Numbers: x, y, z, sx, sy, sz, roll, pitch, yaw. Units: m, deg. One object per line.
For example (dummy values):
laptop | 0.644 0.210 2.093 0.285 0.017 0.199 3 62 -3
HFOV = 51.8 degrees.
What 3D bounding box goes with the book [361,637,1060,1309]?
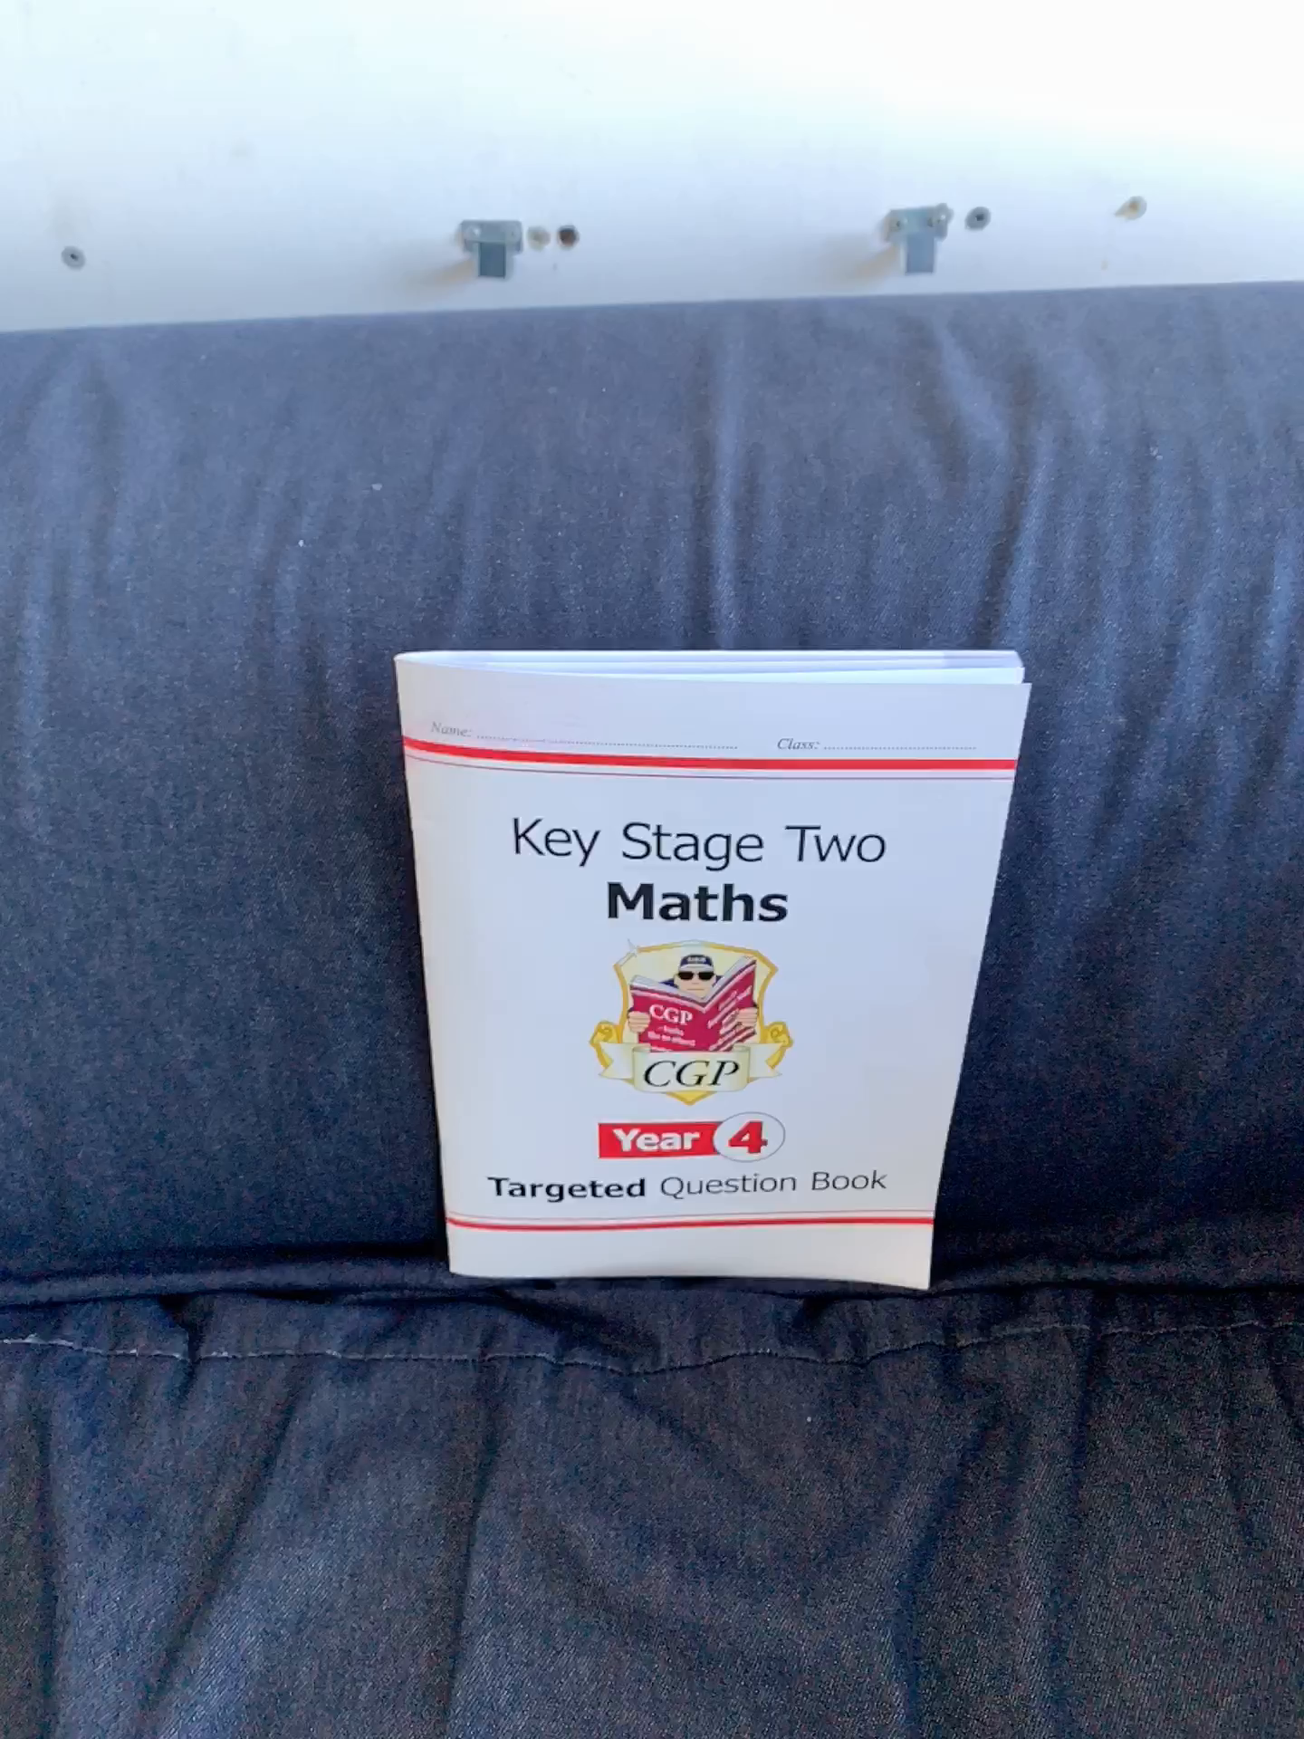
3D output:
book | 0.020 0.048 0.495 0.220 0.266 0.030 0 27 3
